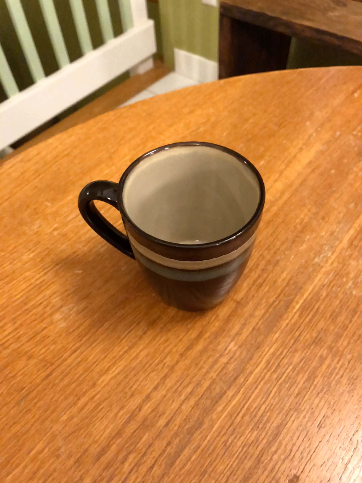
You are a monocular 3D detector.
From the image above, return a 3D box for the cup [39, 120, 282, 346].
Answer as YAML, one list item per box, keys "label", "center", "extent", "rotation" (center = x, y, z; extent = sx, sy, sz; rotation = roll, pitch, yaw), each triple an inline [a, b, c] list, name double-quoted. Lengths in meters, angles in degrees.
- label: "cup"
  center: [-0.007, -0.008, 0.291]
  extent: [0.125, 0.094, 0.099]
  rotation: [15, 54, 15]
